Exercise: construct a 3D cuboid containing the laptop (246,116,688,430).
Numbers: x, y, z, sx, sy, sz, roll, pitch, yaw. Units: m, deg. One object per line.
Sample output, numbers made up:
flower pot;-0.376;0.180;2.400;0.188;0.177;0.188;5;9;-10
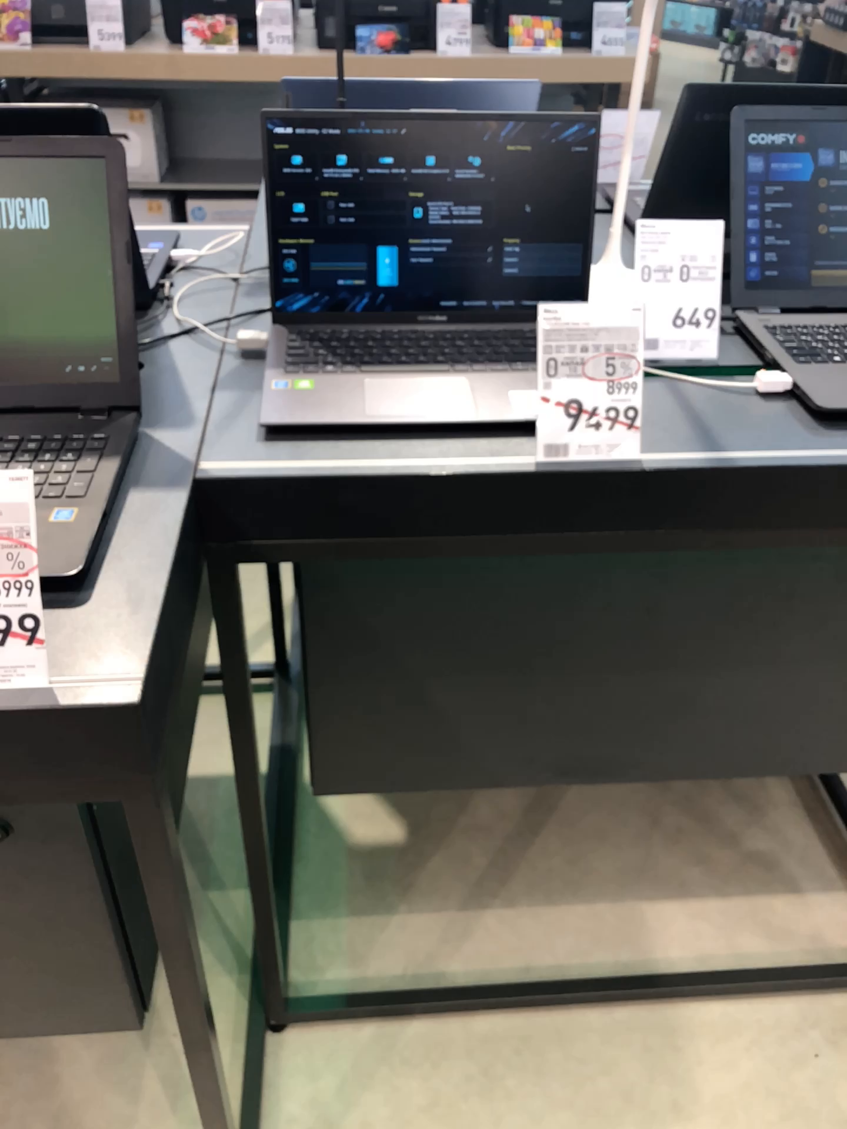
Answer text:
laptop;0.021;-0.297;0.926;0.355;0.200;0.288;-1;37;-3
